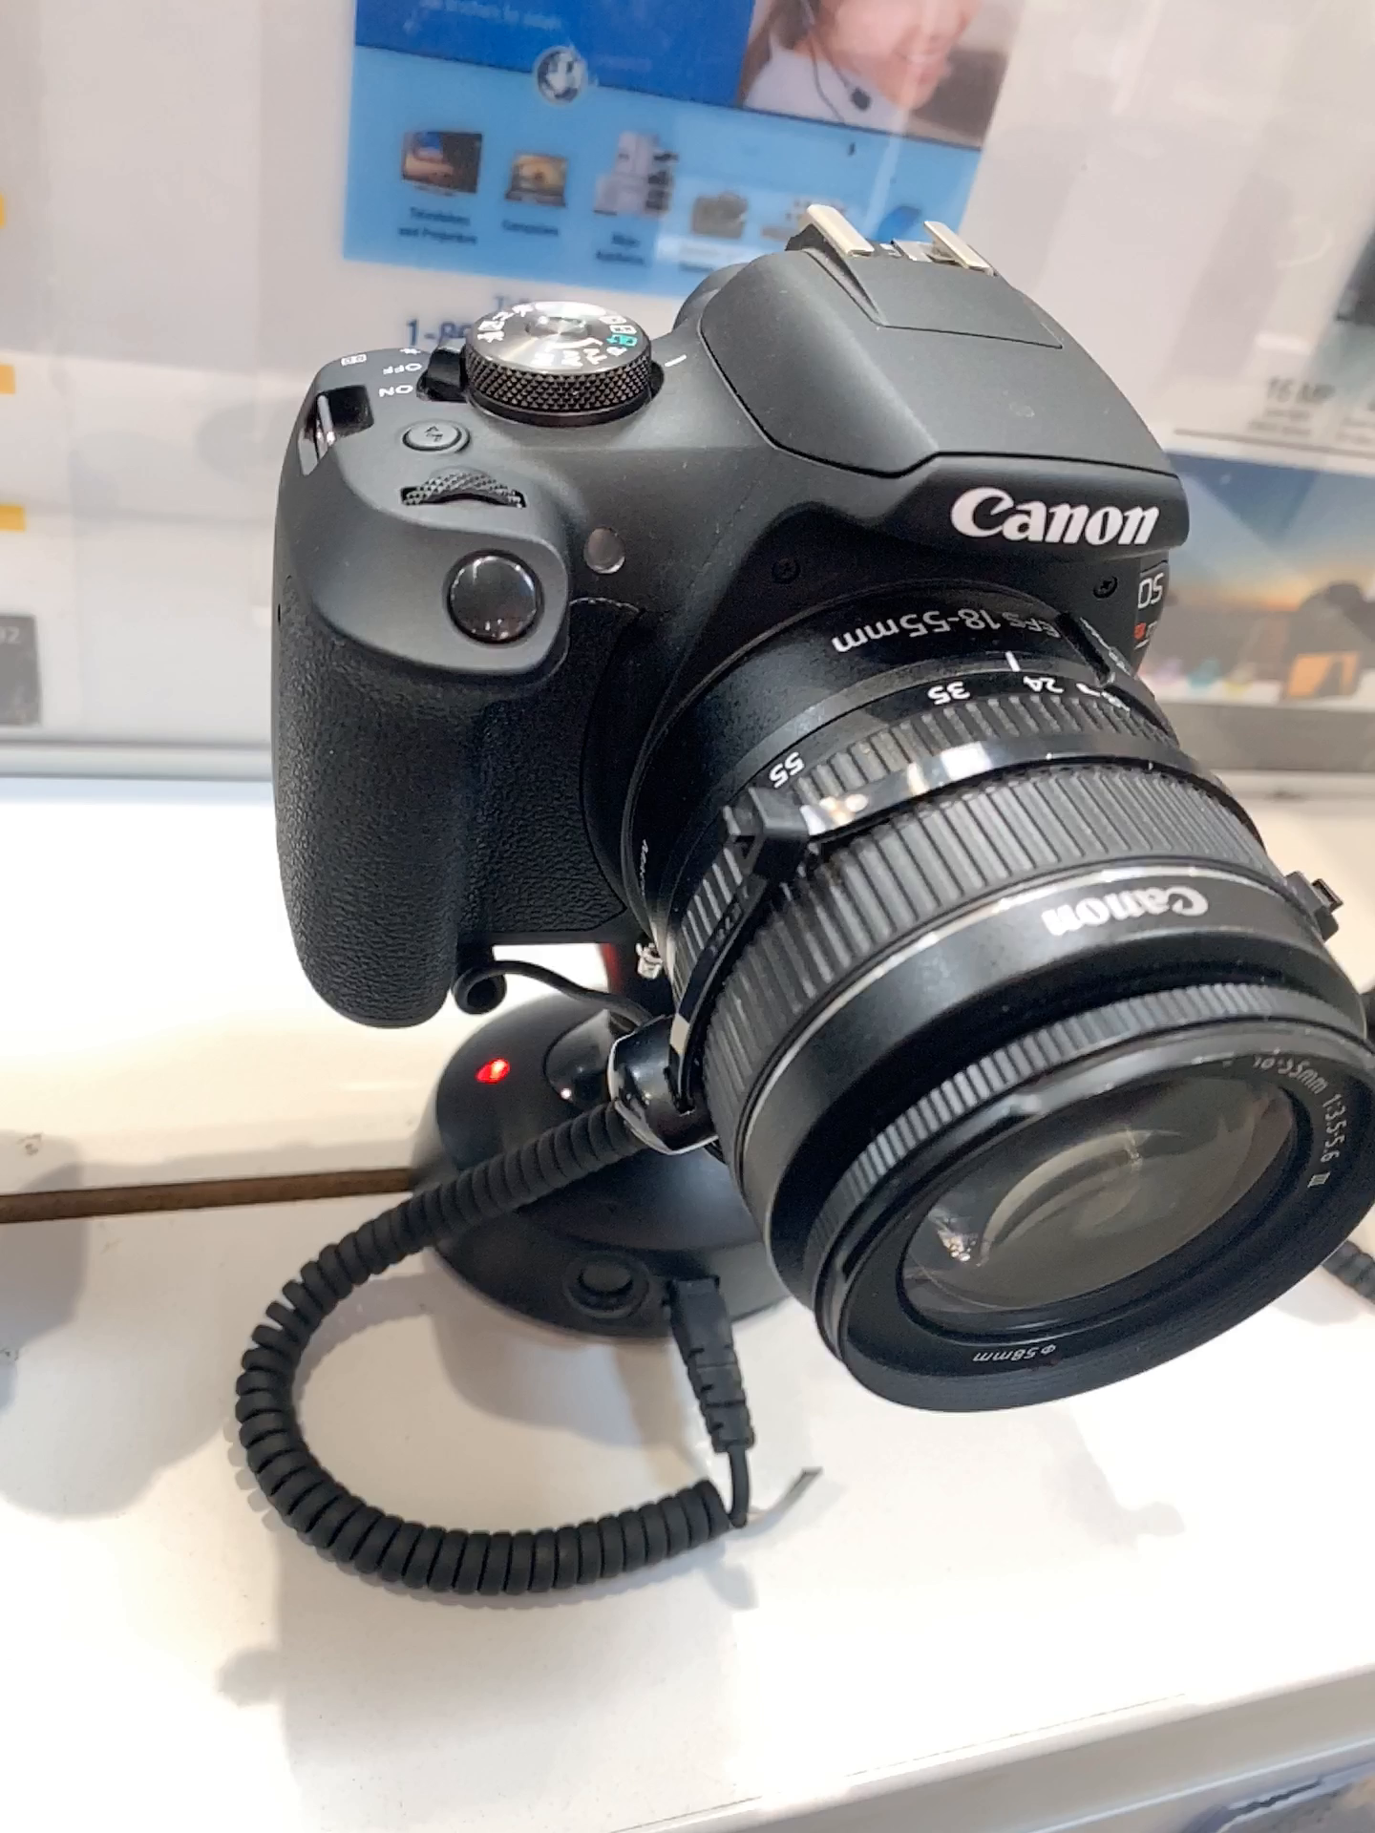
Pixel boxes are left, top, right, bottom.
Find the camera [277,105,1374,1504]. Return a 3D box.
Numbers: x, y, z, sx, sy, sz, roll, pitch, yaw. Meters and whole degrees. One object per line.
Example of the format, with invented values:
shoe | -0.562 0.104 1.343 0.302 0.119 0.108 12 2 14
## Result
camera | 0.019 -0.017 0.176 0.122 0.104 0.110 -1 41 -21
